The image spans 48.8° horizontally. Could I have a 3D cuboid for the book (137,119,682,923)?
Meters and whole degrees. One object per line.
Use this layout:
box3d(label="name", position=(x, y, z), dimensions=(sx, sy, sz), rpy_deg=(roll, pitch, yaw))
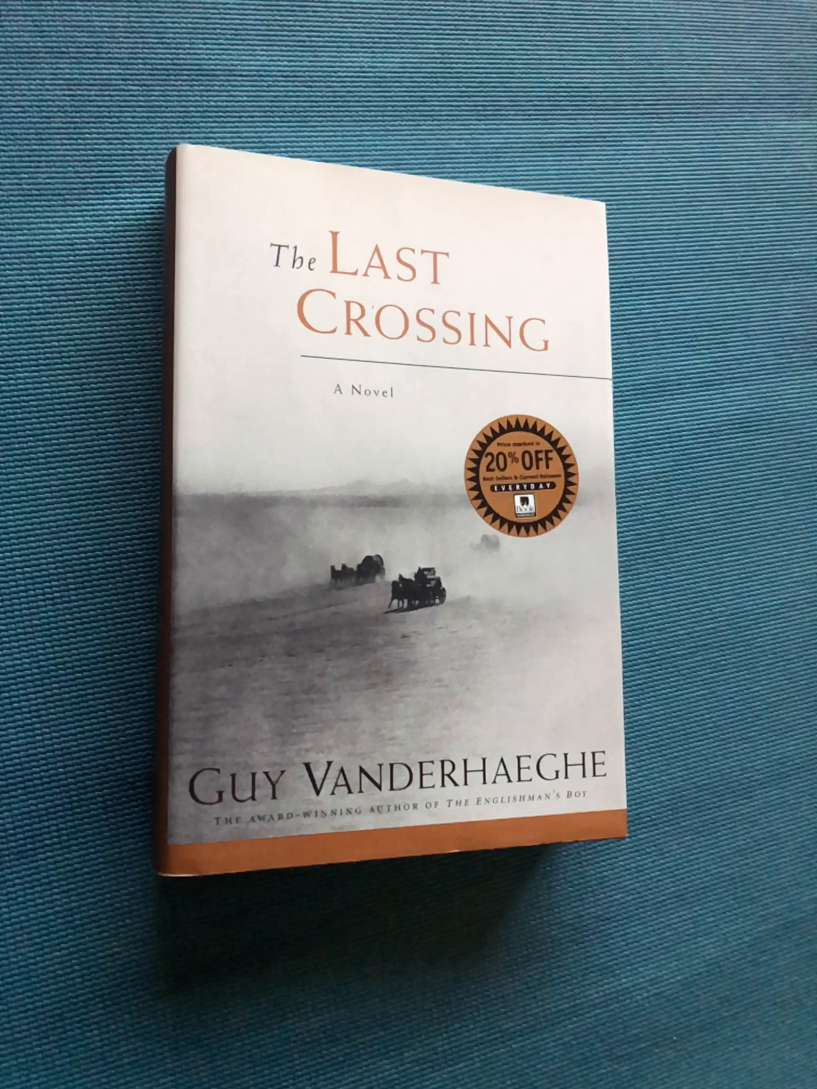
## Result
box3d(label="book", position=(0.000, -0.010, 0.301), dimensions=(0.170, 0.040, 0.230), rpy_deg=(1, 83, -18))
